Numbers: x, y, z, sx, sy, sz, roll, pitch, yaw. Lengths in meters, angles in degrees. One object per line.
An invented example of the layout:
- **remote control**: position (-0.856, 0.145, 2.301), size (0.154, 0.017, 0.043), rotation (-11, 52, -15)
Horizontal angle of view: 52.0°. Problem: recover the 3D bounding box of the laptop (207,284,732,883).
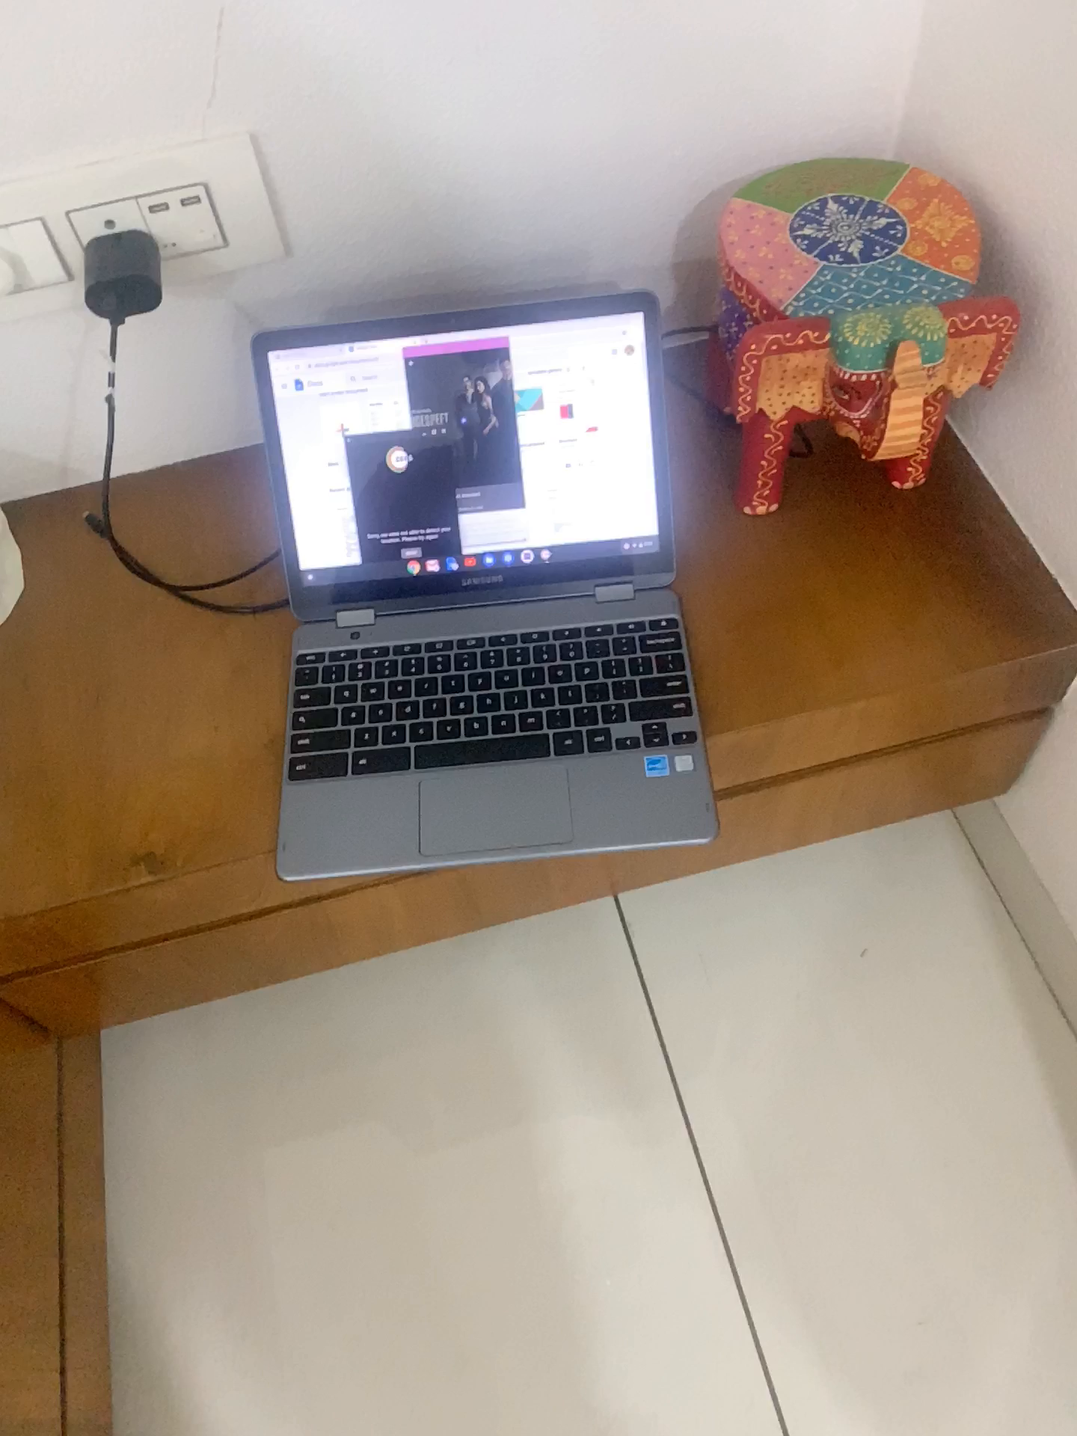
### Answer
- **laptop**: position (-0.046, -0.106, 0.821), size (0.314, 0.164, 0.384), rotation (-6, 59, 3)
